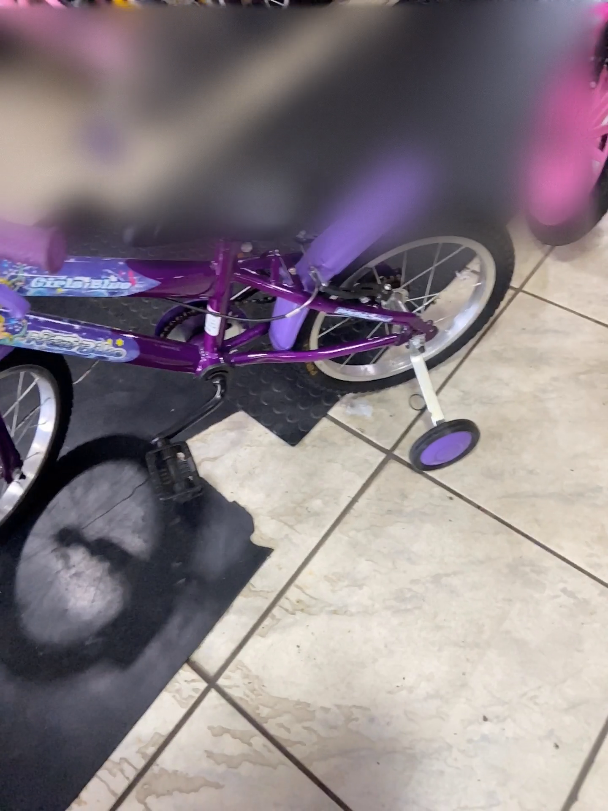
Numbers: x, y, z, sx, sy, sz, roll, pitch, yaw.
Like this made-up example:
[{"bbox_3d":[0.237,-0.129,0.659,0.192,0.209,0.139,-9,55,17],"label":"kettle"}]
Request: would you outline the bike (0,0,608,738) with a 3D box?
[{"bbox_3d":[-0.153,-0.121,0.748,0.971,0.743,0.449,-27,56,-10],"label":"bike"}]
